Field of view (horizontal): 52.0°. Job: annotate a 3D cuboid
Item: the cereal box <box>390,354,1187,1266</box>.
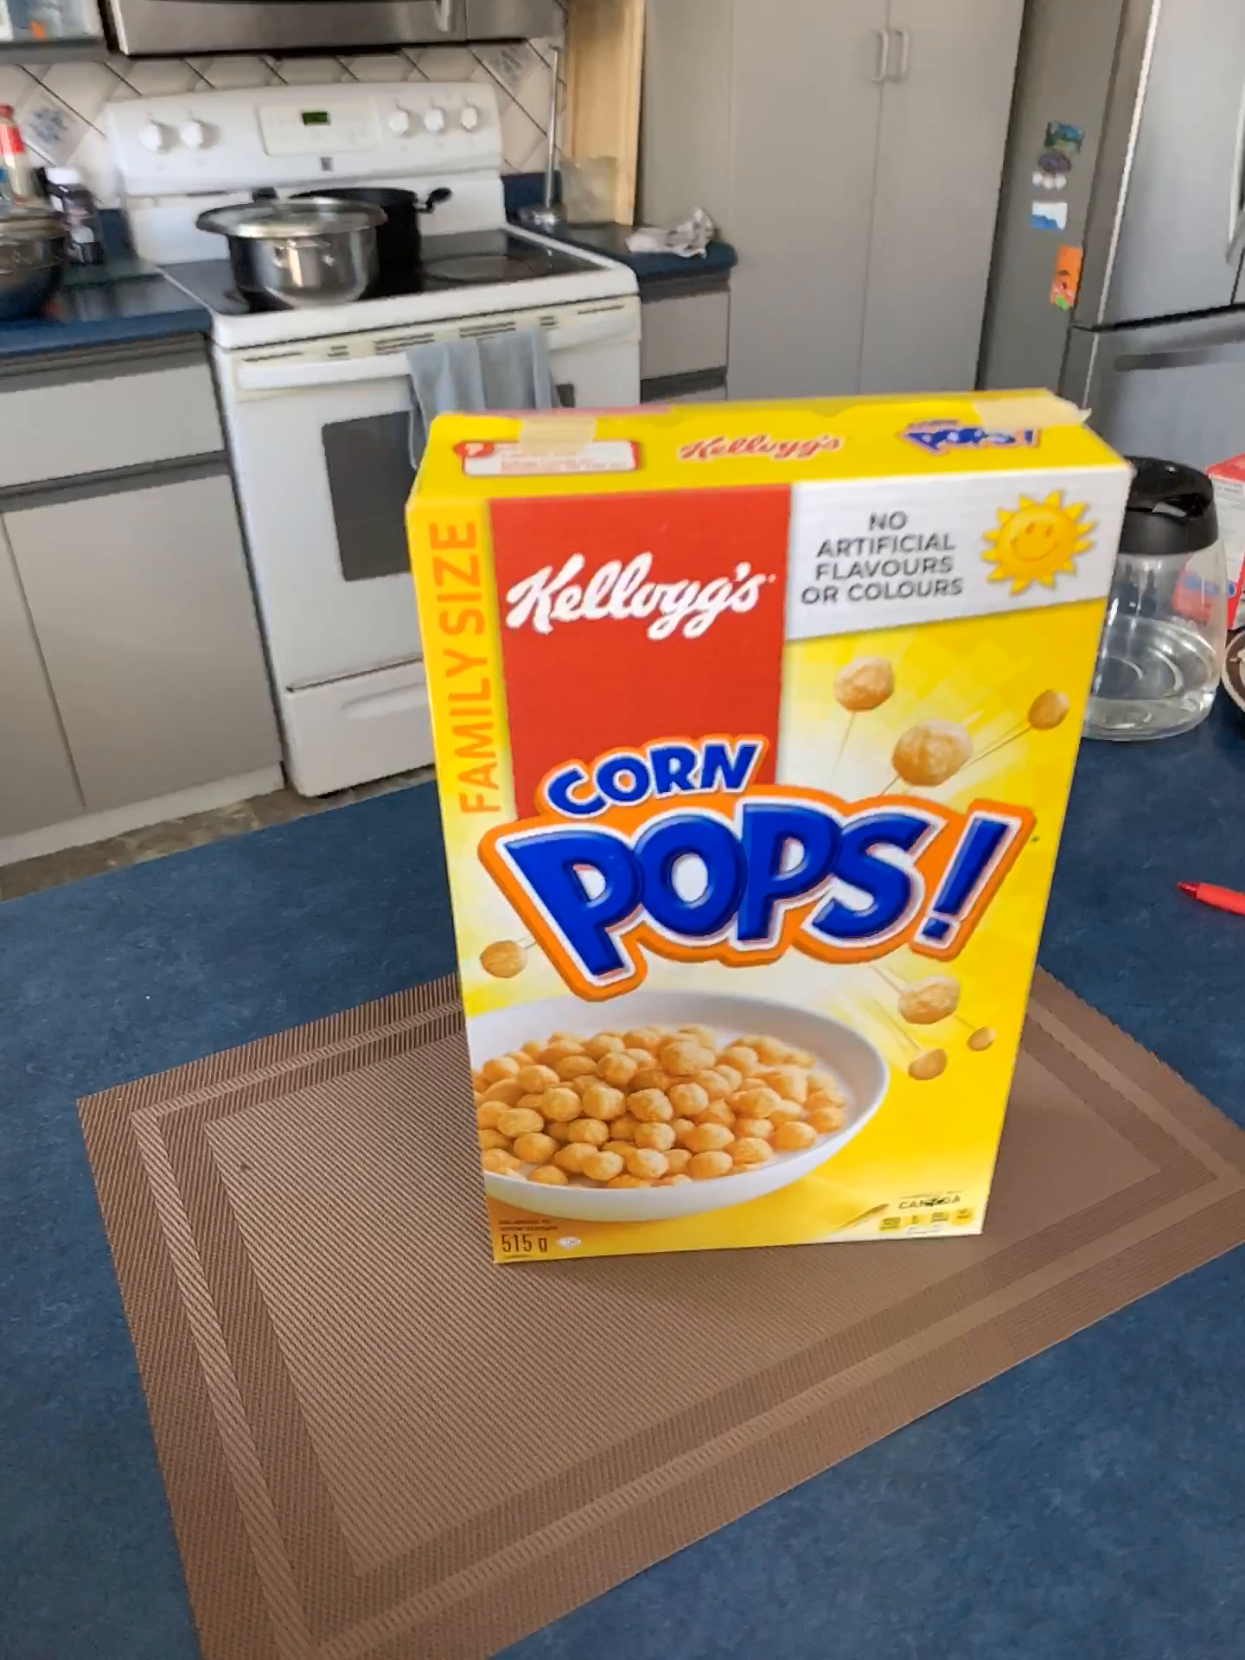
[{"bbox_3d":[0.045,0.009,0.458,0.210,0.317,0.091,-3,33,-2],"label":"cereal box"}]
